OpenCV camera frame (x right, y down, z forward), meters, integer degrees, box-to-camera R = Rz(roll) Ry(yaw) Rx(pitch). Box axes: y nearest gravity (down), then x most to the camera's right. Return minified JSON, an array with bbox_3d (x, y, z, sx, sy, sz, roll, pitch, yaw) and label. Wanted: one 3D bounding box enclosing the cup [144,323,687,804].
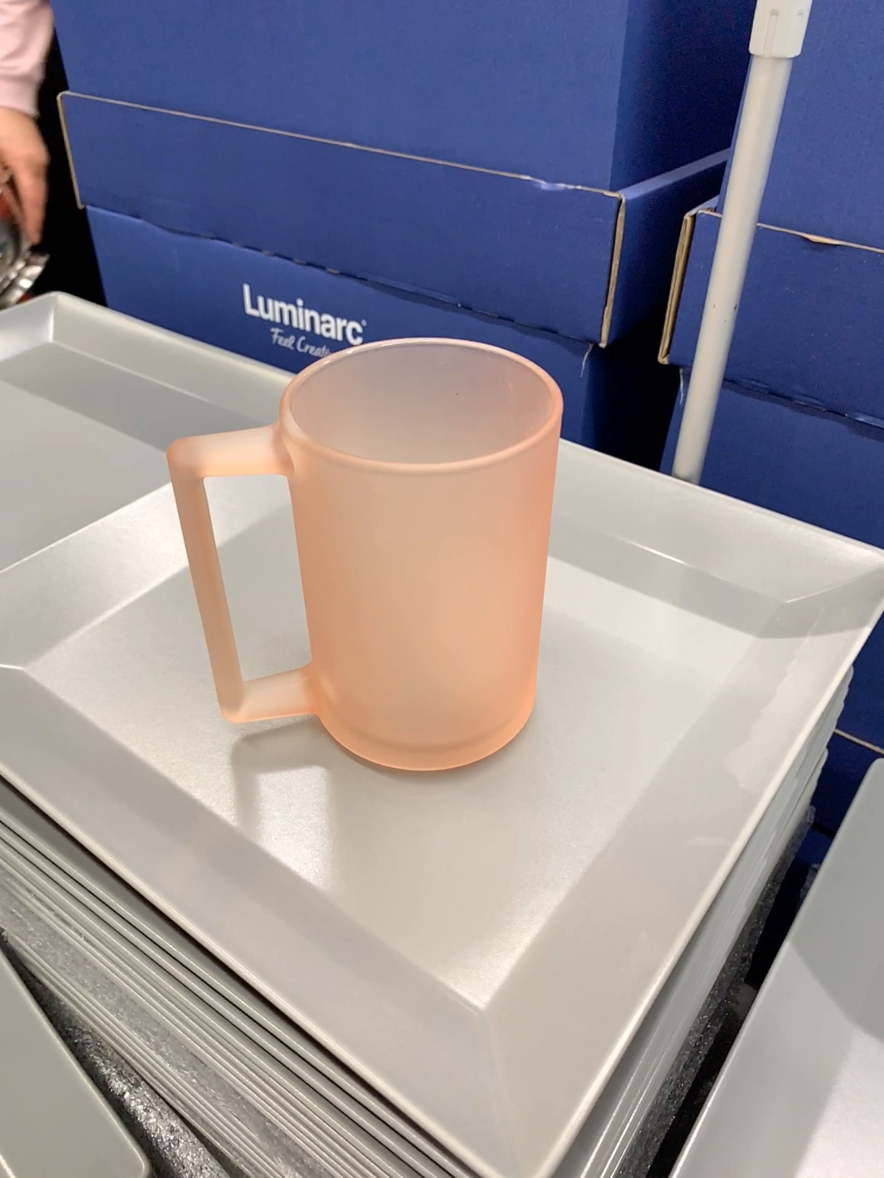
[{"bbox_3d":[-0.012,-0.012,0.266,0.120,0.095,0.095,-4,37,-8],"label":"cup"}]
